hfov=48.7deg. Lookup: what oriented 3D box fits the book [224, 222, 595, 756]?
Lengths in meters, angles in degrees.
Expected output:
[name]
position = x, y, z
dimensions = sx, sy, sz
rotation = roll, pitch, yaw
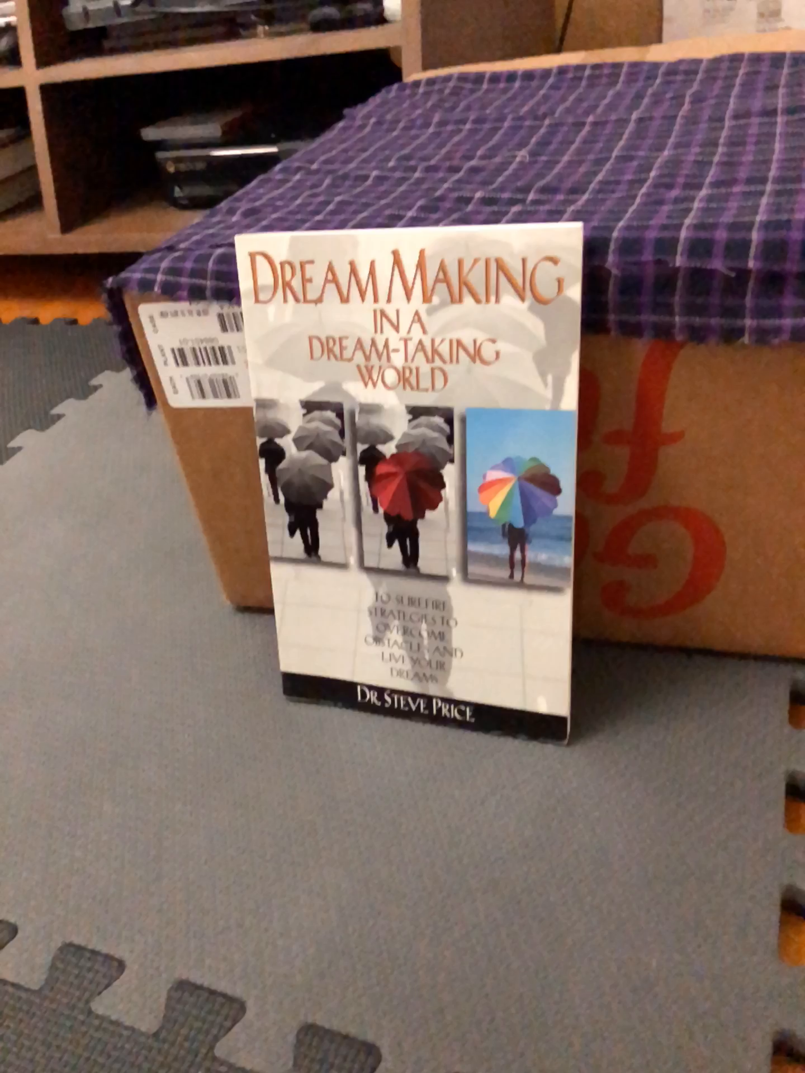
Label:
[book]
position = 0.005, -0.017, 0.387
dimensions = 0.150, 0.219, 0.020
rotation = 5, 22, 23
